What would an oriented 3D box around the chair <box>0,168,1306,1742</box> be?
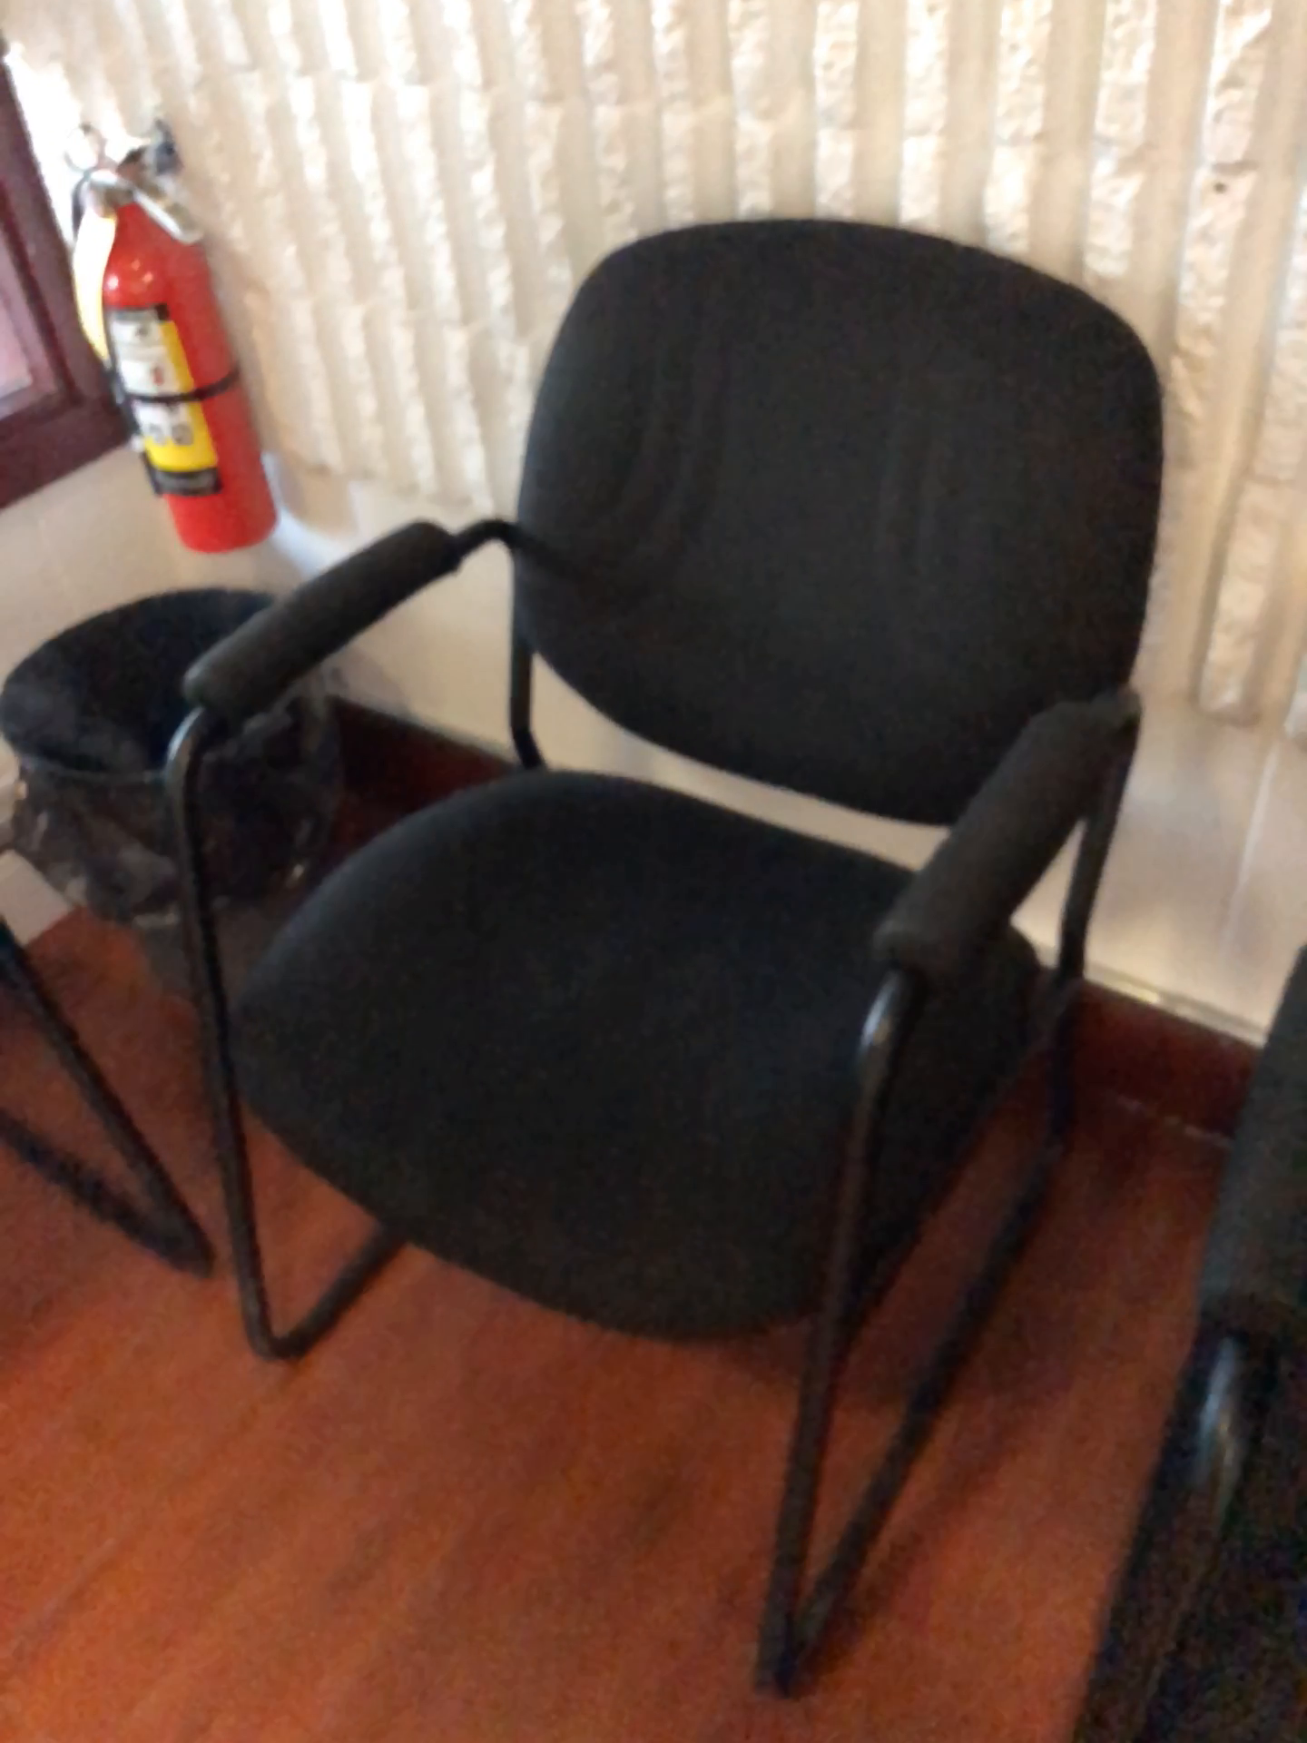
[{"bbox_3d":[0.036,0.012,1.139,0.592,0.794,0.773,20,48,27],"label":"chair"}]
